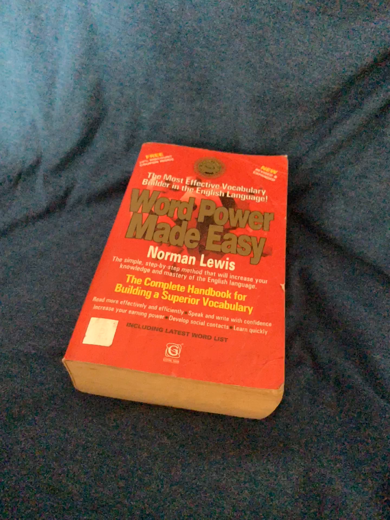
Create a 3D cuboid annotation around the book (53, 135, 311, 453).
[{"bbox_3d":[0.006,0.008,0.271,0.120,0.050,0.191,12,55,3],"label":"book"}]
